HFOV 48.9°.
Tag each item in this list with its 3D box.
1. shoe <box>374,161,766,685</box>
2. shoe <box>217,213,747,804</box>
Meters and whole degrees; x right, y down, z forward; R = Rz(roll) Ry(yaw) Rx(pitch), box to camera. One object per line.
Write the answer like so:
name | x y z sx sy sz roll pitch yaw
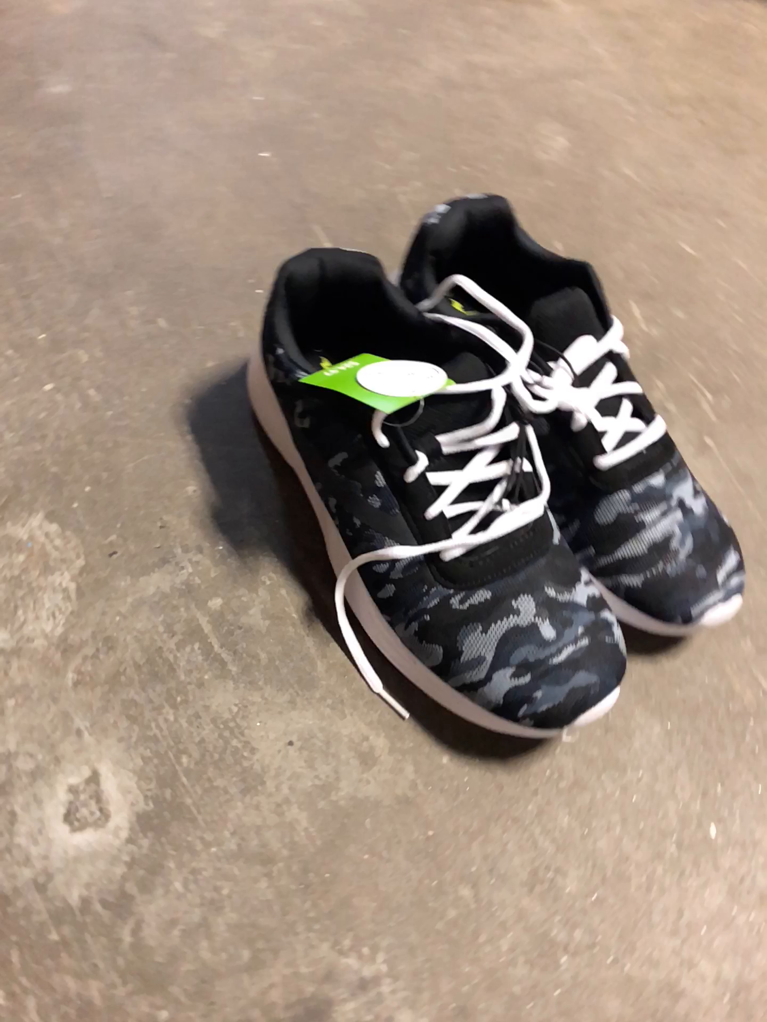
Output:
shoe | 0.123 -0.059 0.501 0.120 0.139 0.261 -27 63 -23
shoe | 0.027 -0.008 0.444 0.110 0.139 0.261 -27 63 -23
